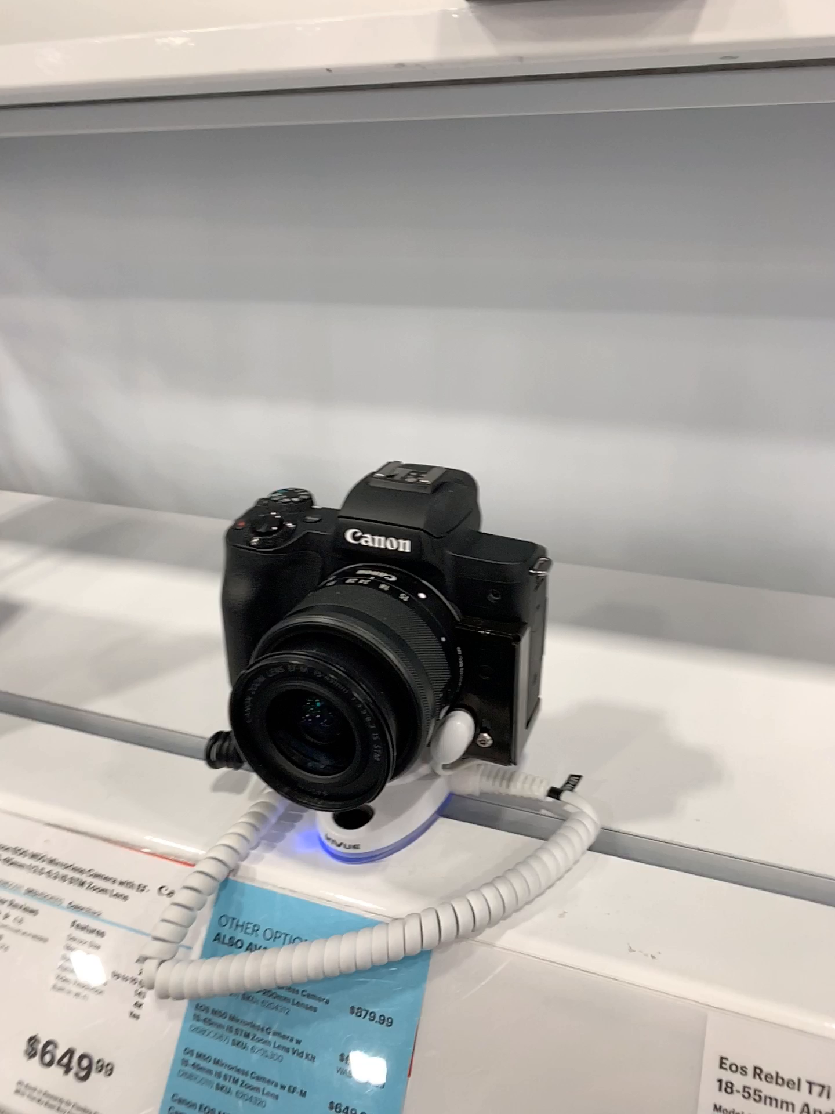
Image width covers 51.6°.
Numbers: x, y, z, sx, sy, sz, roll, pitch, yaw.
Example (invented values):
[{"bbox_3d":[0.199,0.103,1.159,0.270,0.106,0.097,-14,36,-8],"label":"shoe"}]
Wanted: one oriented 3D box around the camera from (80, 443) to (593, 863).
[{"bbox_3d":[-0.018,0.019,0.293,0.130,0.080,0.110,8,24,19],"label":"camera"}]
